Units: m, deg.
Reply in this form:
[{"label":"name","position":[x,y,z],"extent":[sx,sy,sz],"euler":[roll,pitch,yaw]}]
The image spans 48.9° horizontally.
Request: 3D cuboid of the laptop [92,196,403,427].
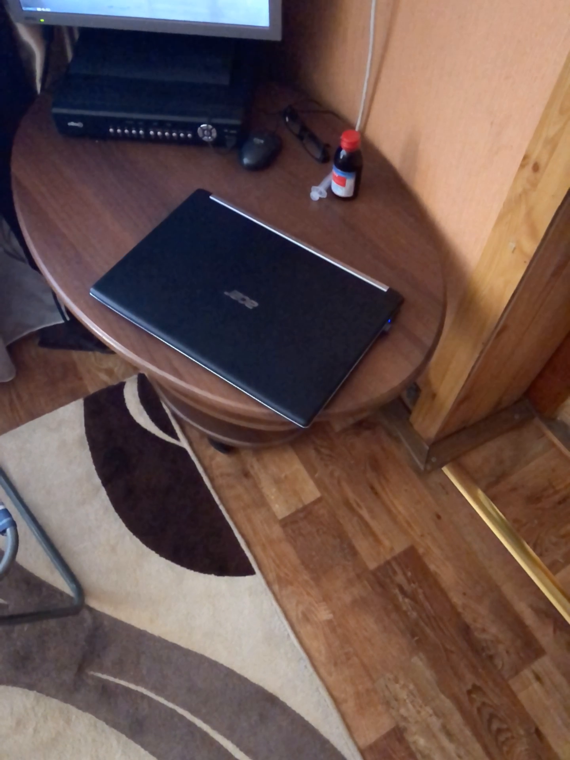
[{"label":"laptop","position":[-0.053,-0.115,0.885],"extent":[0.363,0.004,0.240],"euler":[31,64,17]}]
